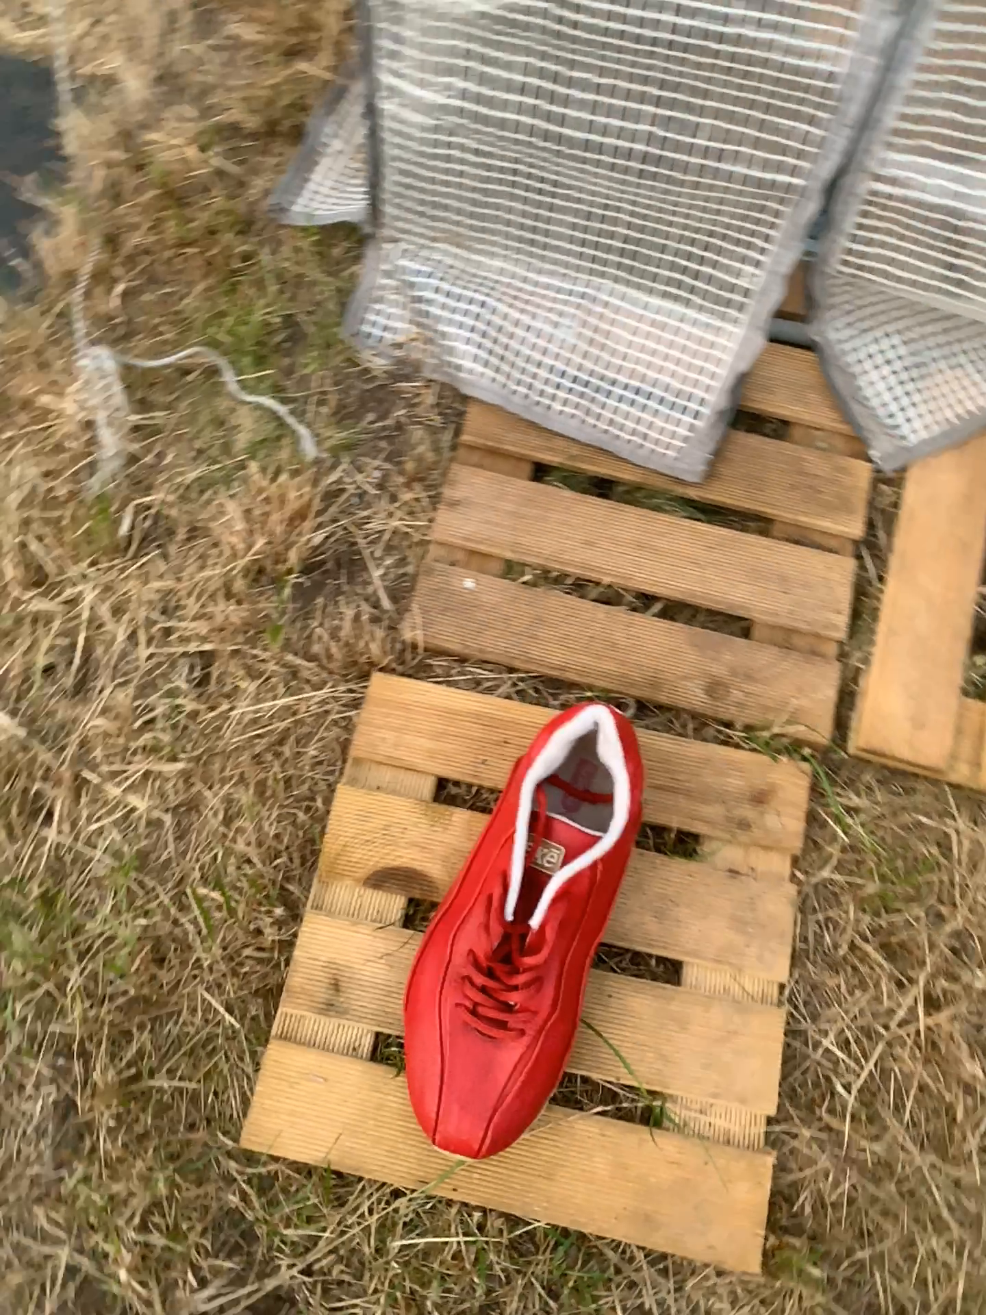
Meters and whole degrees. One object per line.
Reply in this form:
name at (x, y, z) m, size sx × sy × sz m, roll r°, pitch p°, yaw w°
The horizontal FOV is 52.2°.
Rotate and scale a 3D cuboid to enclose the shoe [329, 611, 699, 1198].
shoe at (0.018, 0.135, 0.574) m, size 0.100 × 0.129 × 0.281 m, roll 19°, pitch 65°, yaw 7°
